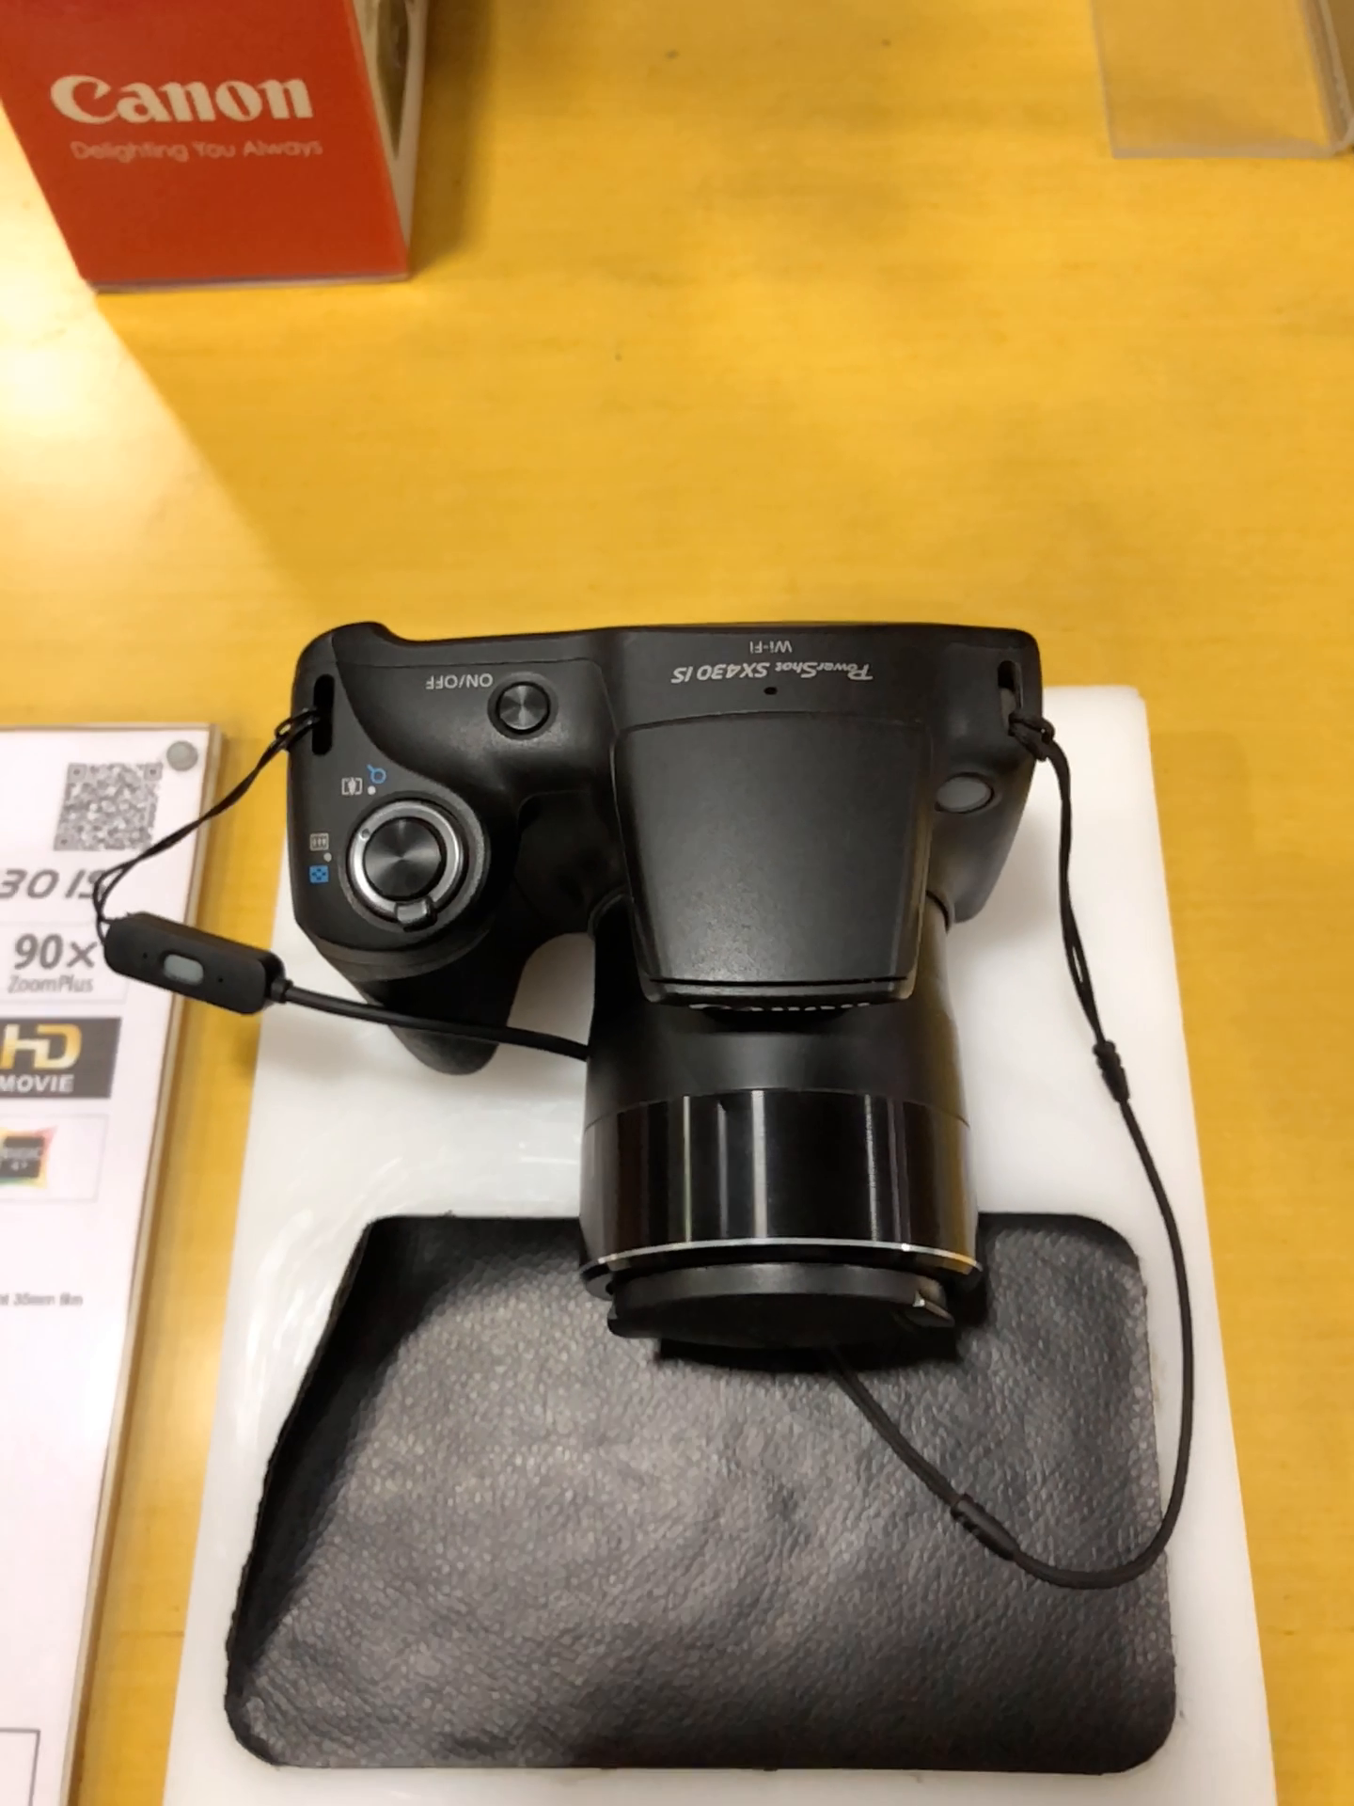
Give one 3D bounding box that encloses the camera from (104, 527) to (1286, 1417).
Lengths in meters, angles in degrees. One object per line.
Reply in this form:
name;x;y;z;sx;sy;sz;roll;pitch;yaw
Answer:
camera;0.002;0.016;0.200;0.110;0.090;0.090;-1;67;1
